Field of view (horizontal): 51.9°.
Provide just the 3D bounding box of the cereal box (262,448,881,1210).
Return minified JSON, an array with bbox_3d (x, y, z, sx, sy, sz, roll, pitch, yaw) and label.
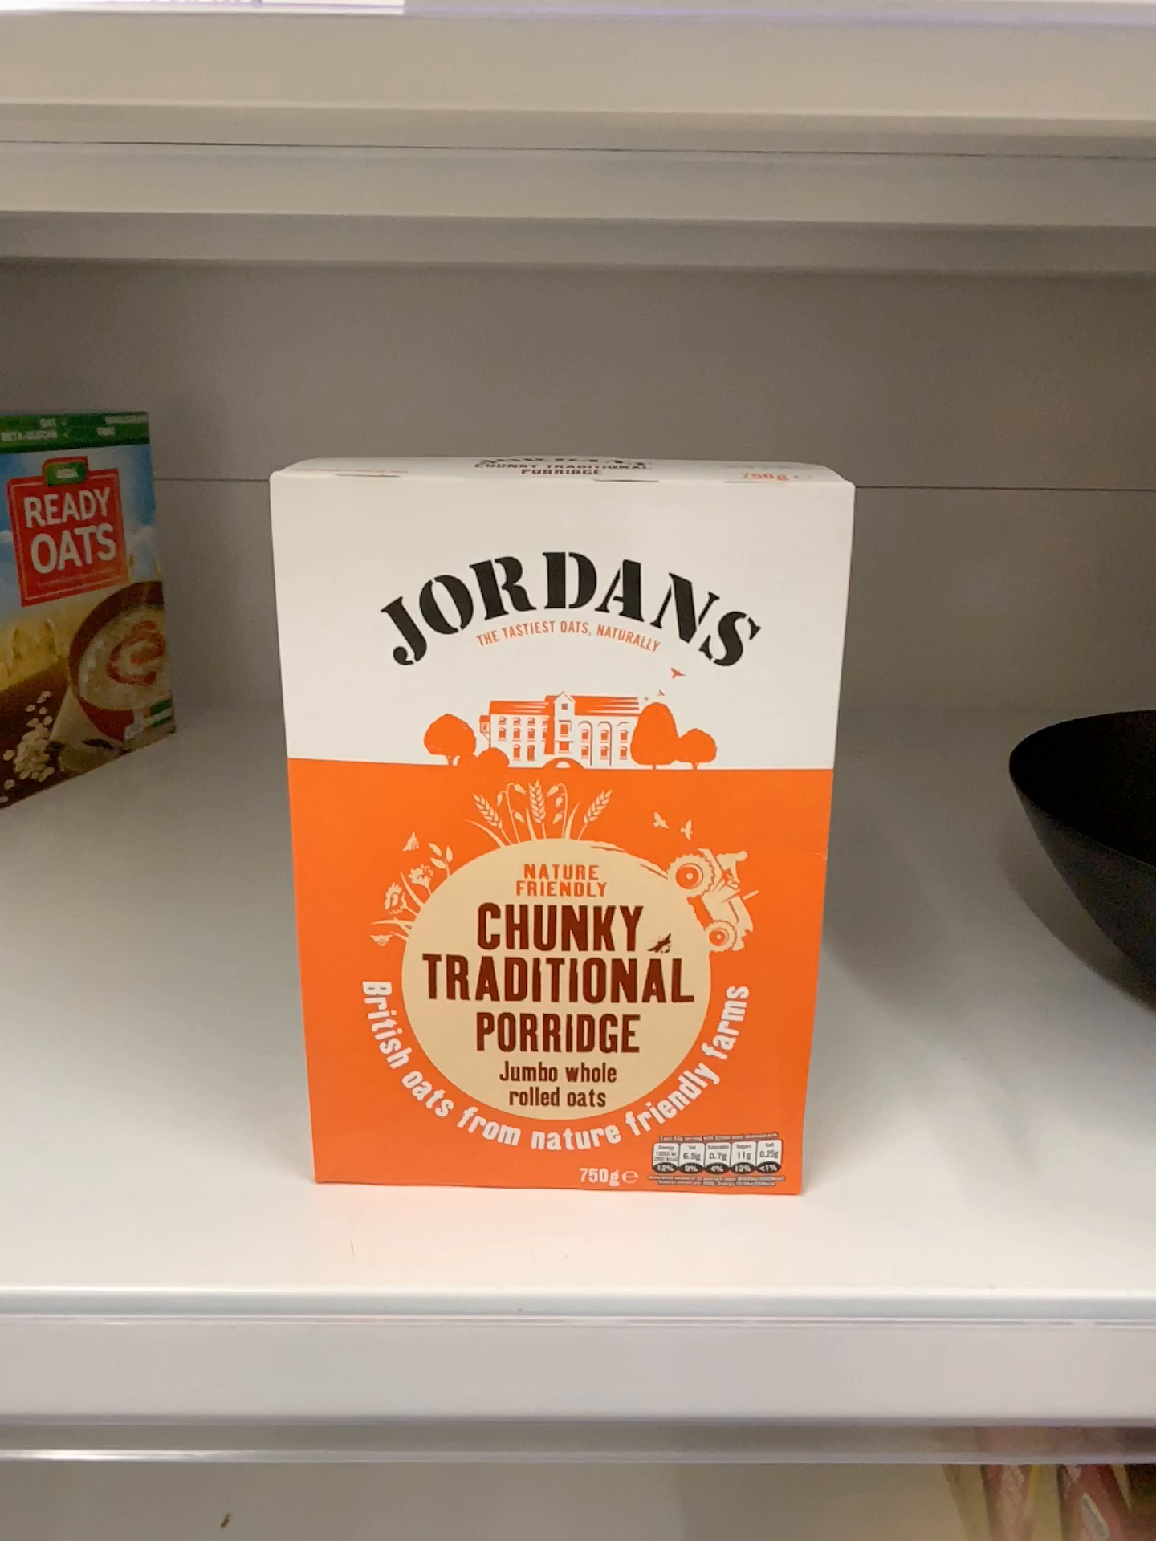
[{"bbox_3d":[-0.003,0.024,0.433,0.190,0.268,0.060,1,17,1],"label":"cereal box"}]
